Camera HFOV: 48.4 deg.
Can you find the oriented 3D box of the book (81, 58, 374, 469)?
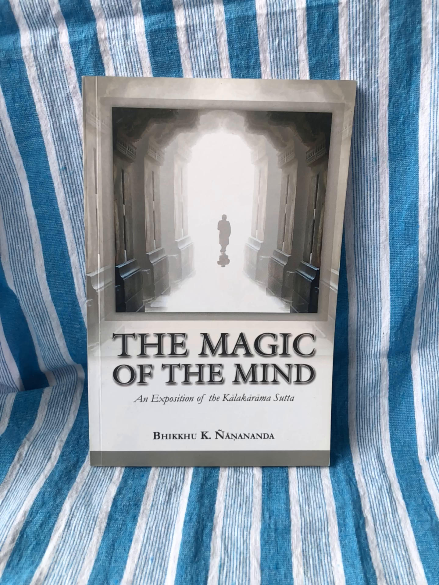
[{"bbox_3d":[0.002,-0.009,0.269,0.150,0.220,0.010,1,8,-3],"label":"book"}]
